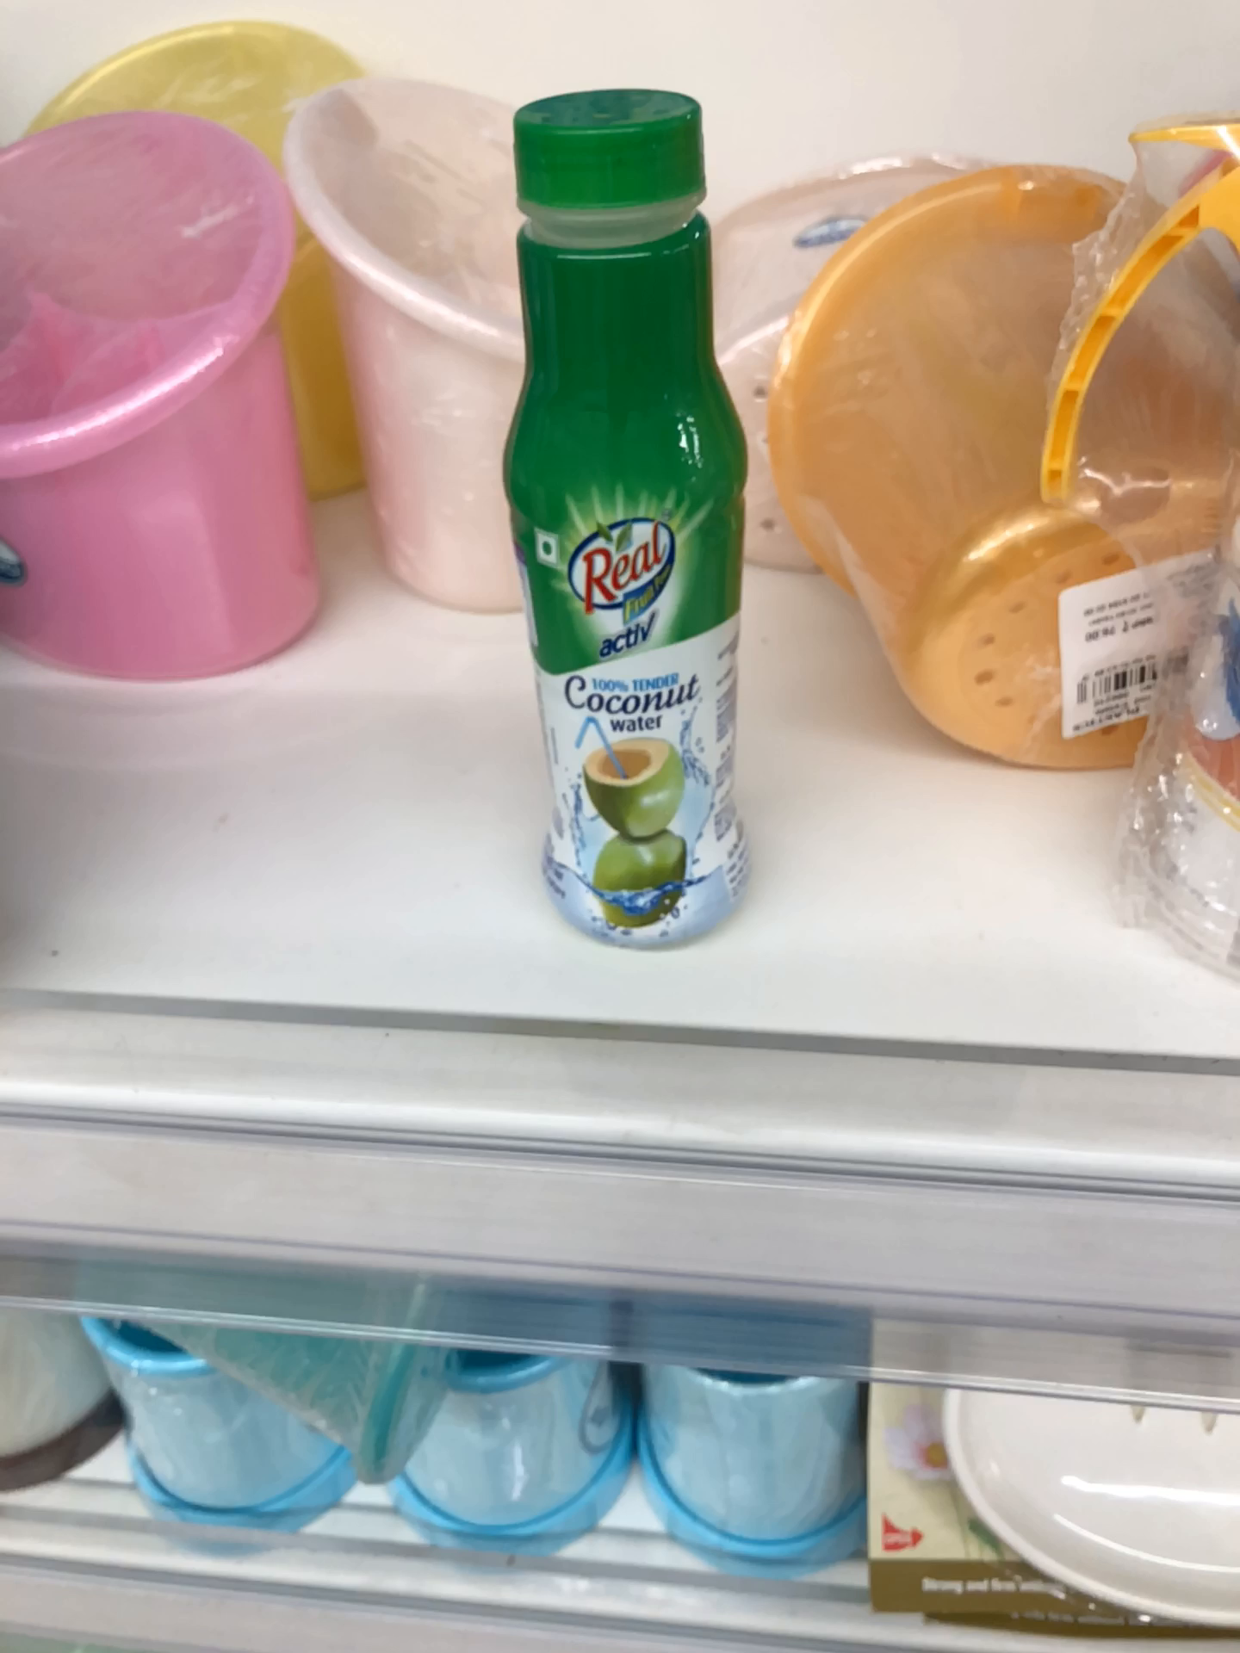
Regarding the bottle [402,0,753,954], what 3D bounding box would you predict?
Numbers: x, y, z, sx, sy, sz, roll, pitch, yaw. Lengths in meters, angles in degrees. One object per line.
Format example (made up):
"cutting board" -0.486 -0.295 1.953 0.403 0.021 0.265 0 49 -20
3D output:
"bottle" -0.003 -0.058 0.273 0.050 0.179 0.050 -2 40 2
